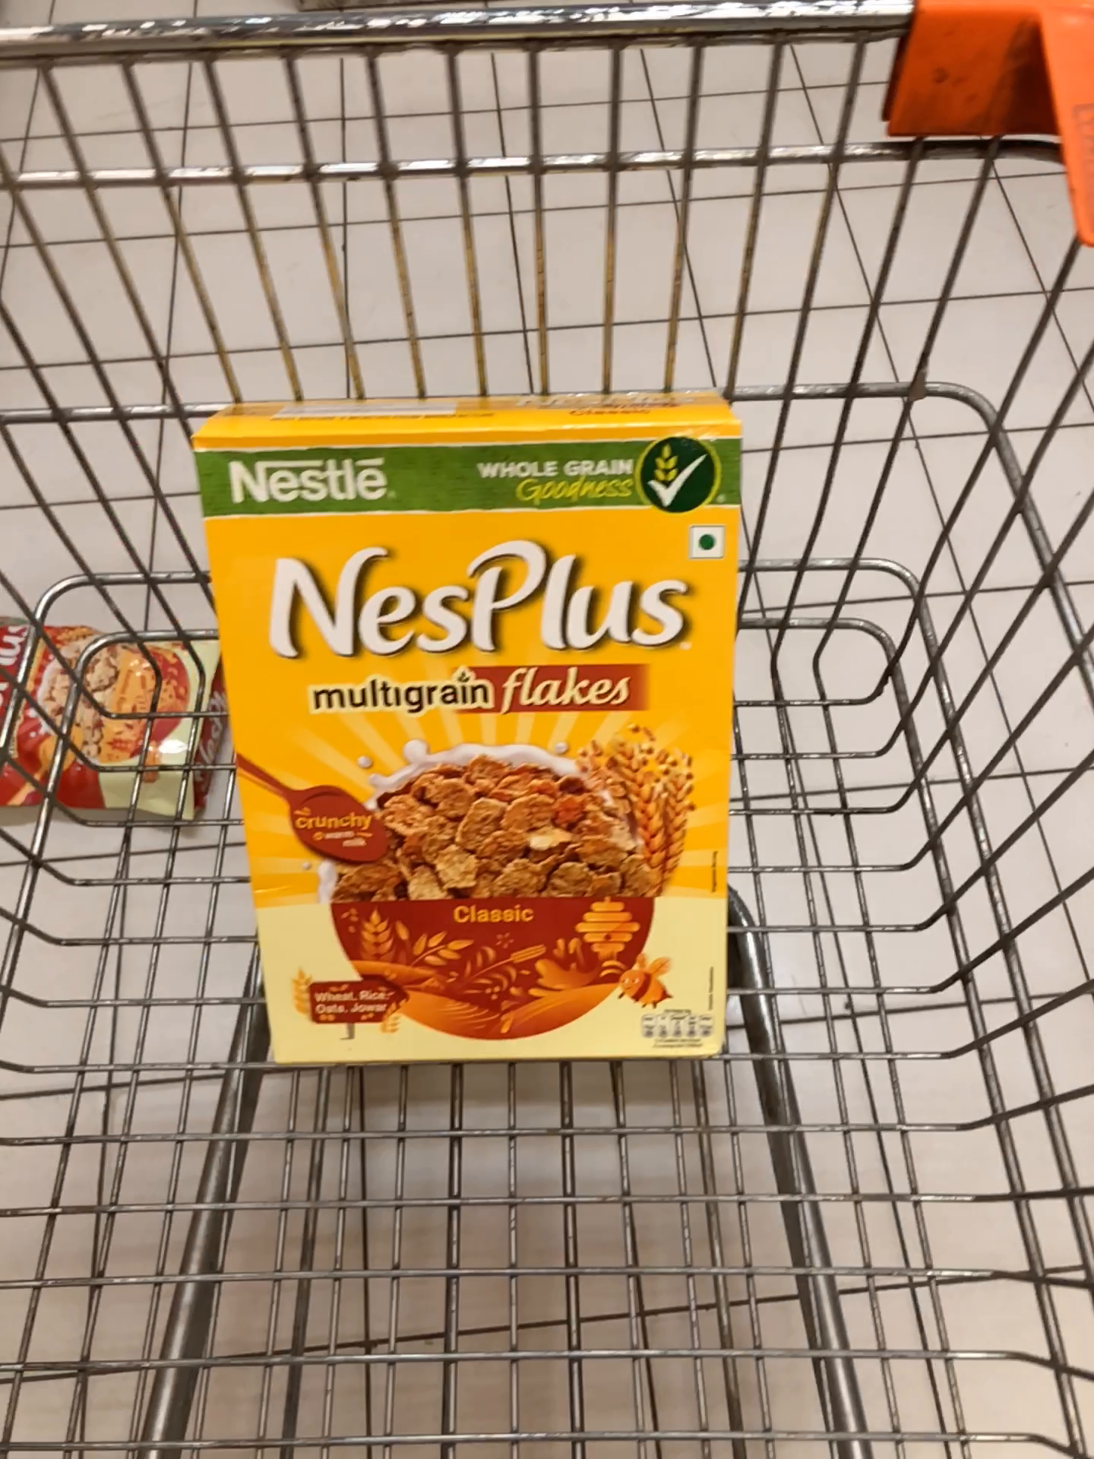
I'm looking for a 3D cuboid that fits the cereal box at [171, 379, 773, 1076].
[{"bbox_3d":[-0.022,-0.001,0.467,0.190,0.249,0.090,-1,20,0],"label":"cereal box"}]
